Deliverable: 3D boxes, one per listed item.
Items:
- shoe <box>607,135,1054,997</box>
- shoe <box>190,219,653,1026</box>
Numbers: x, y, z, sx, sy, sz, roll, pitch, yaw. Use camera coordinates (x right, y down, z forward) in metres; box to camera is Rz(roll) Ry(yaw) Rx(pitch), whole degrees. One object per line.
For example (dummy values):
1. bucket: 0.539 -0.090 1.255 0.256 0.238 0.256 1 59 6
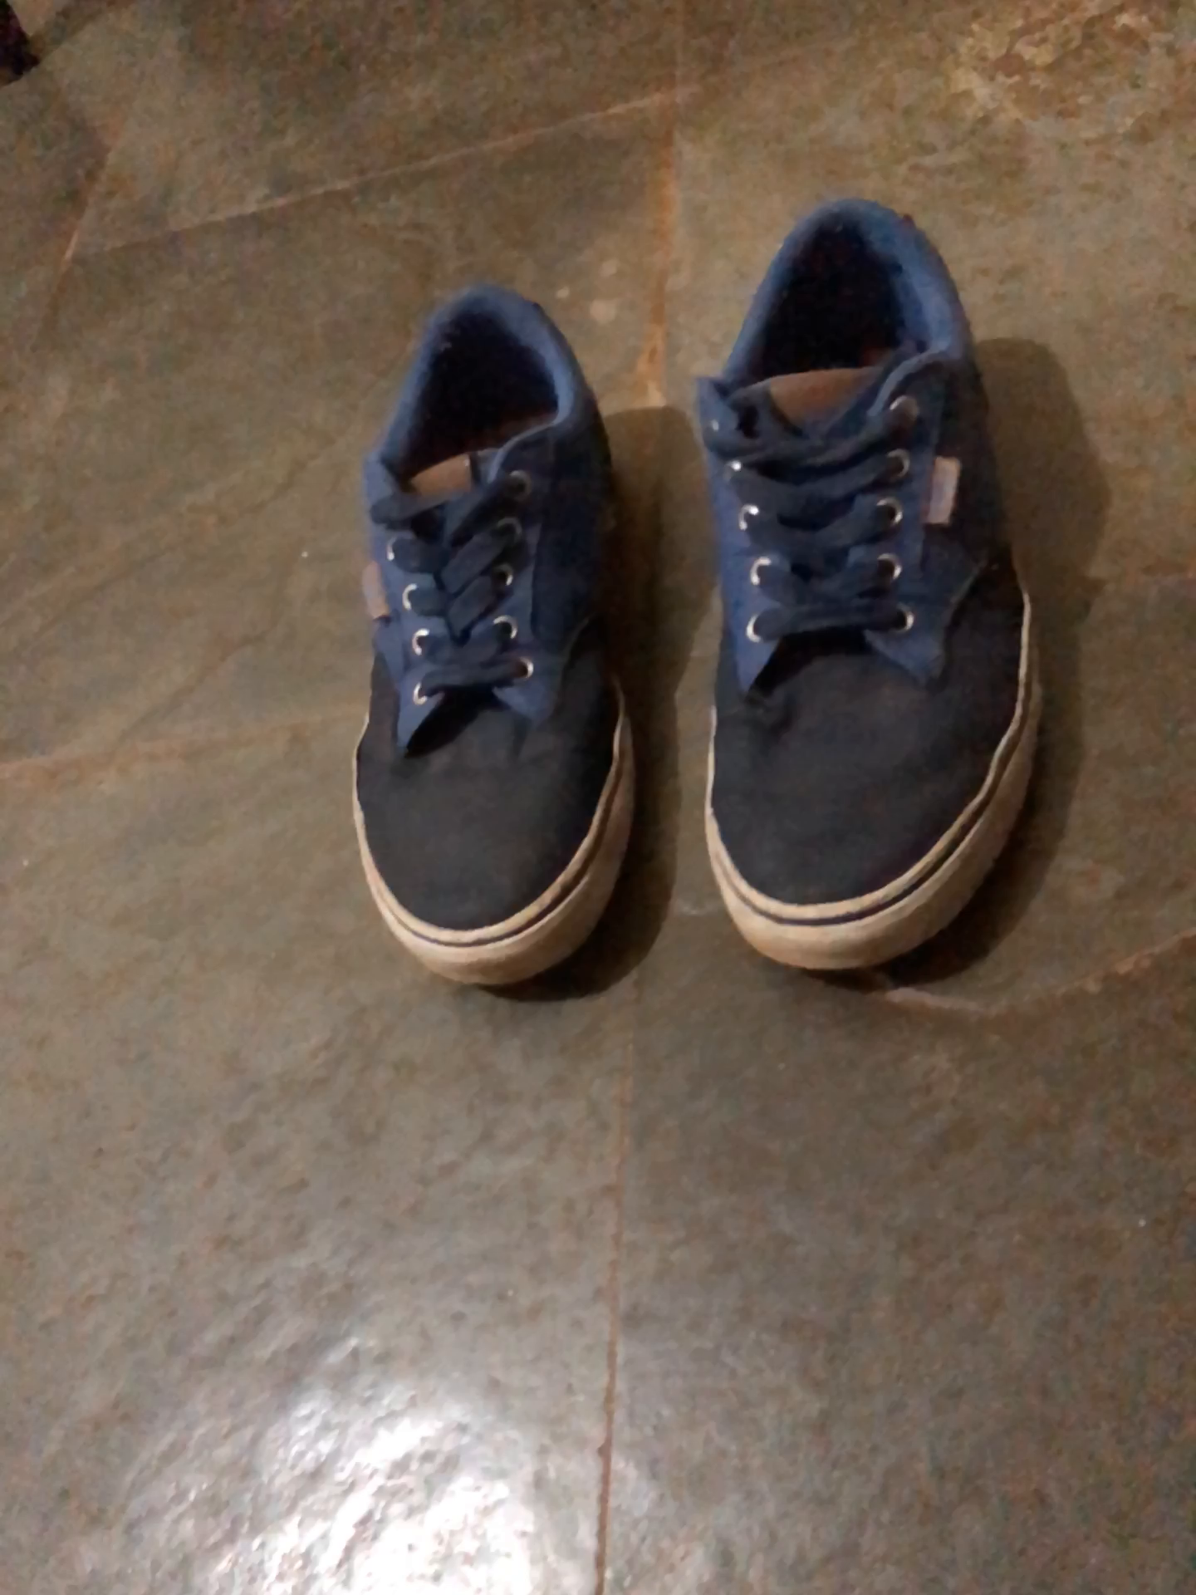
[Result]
1. shoe: 0.086 -0.085 0.437 0.110 0.080 0.291 -2 57 19
2. shoe: -0.046 -0.071 0.465 0.110 0.080 0.281 -8 55 15
